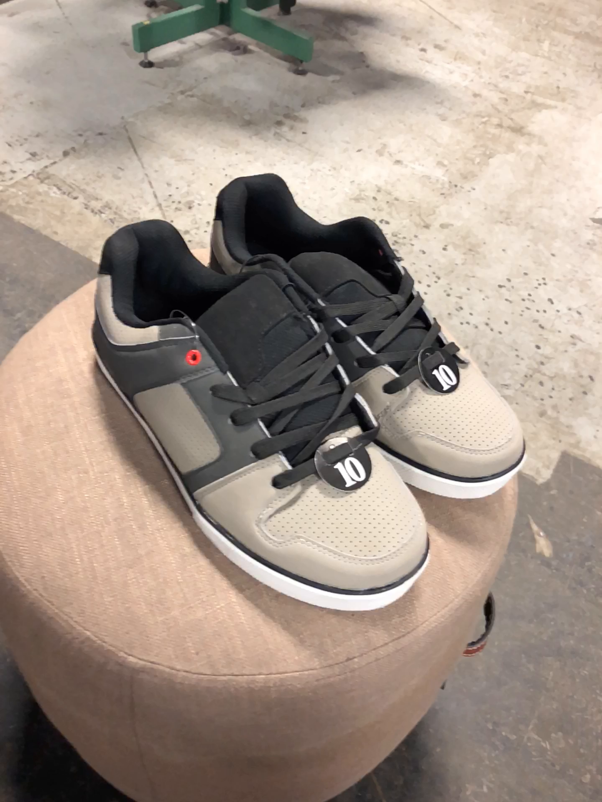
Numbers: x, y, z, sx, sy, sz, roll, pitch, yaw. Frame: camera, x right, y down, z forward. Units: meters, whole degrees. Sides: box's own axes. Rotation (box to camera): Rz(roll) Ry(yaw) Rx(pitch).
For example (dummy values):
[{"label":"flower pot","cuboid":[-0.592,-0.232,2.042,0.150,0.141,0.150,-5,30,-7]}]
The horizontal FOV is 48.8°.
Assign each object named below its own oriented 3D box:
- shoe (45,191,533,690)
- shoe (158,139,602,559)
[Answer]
[{"label":"shoe","cuboid":[-0.023,0.008,0.395,0.120,0.119,0.261,-30,59,-28]},{"label":"shoe","cuboid":[0.043,-0.055,0.470,0.120,0.099,0.311,-33,61,-29]}]
